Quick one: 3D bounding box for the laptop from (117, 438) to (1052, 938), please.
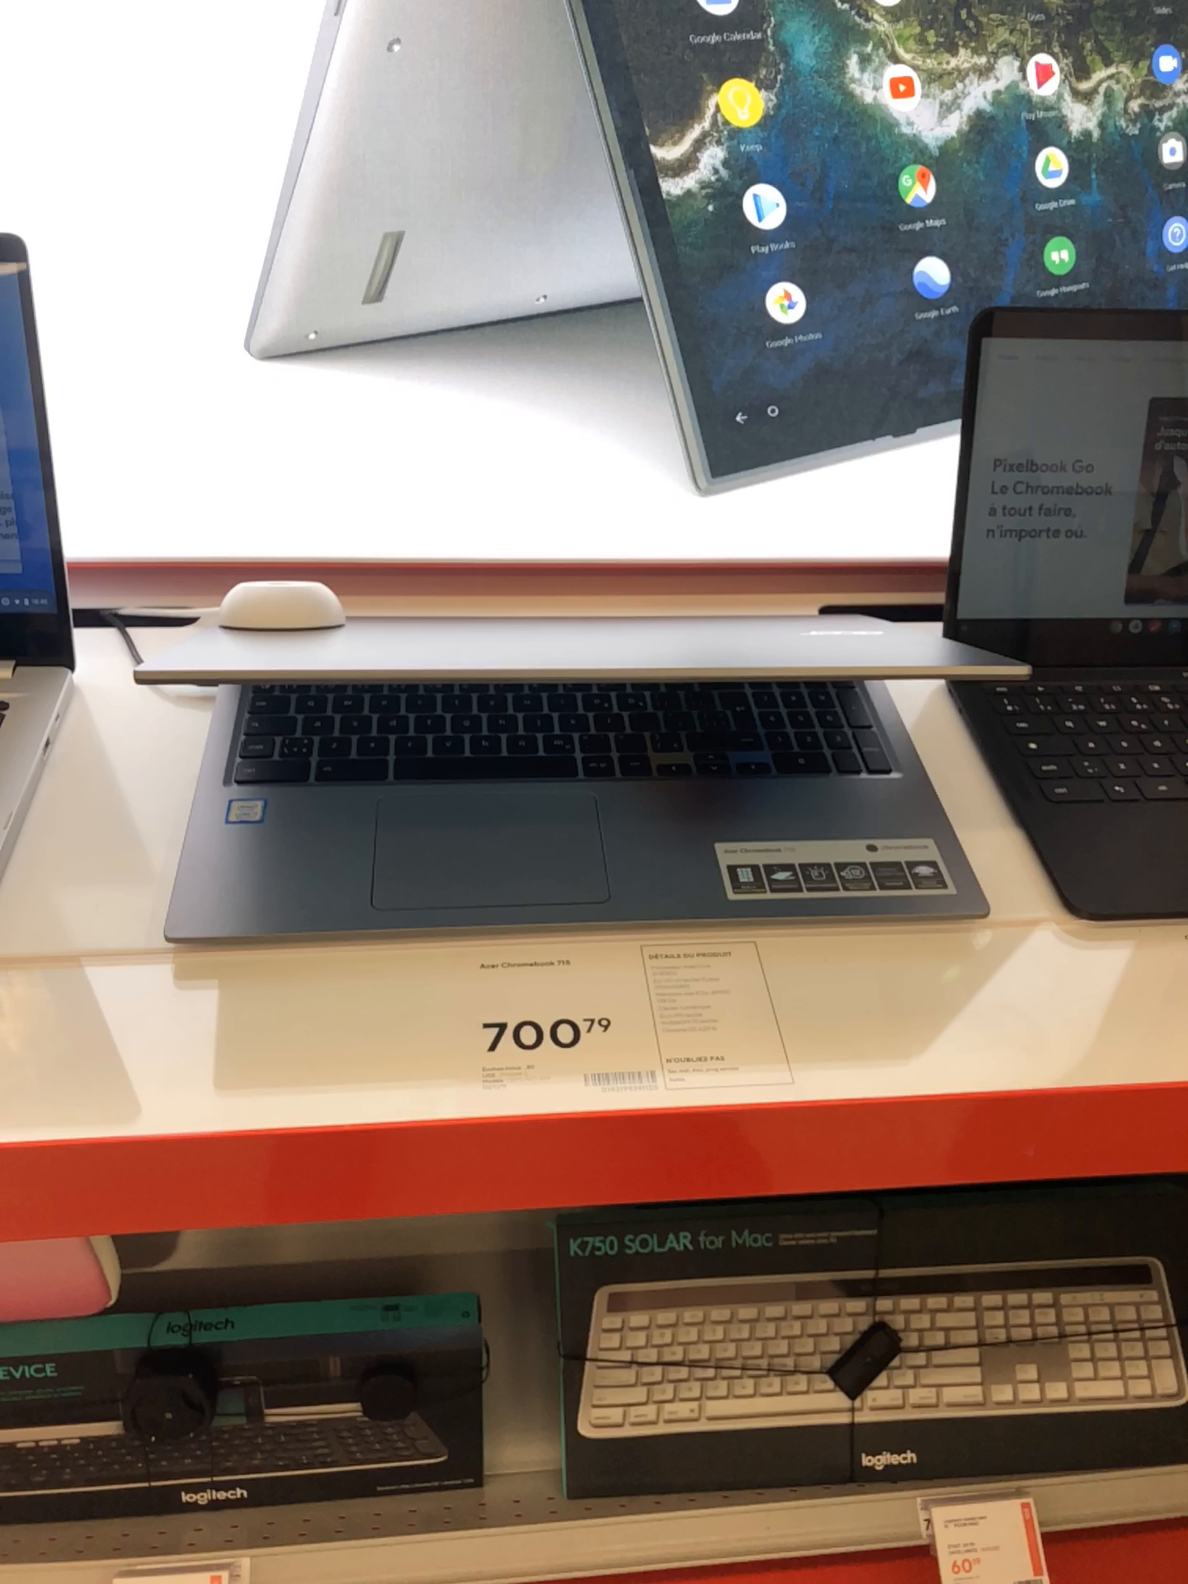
[{"bbox_3d":[-0.008,-0.065,0.638,0.368,0.109,0.245,-1,39,-9],"label":"laptop"}]
